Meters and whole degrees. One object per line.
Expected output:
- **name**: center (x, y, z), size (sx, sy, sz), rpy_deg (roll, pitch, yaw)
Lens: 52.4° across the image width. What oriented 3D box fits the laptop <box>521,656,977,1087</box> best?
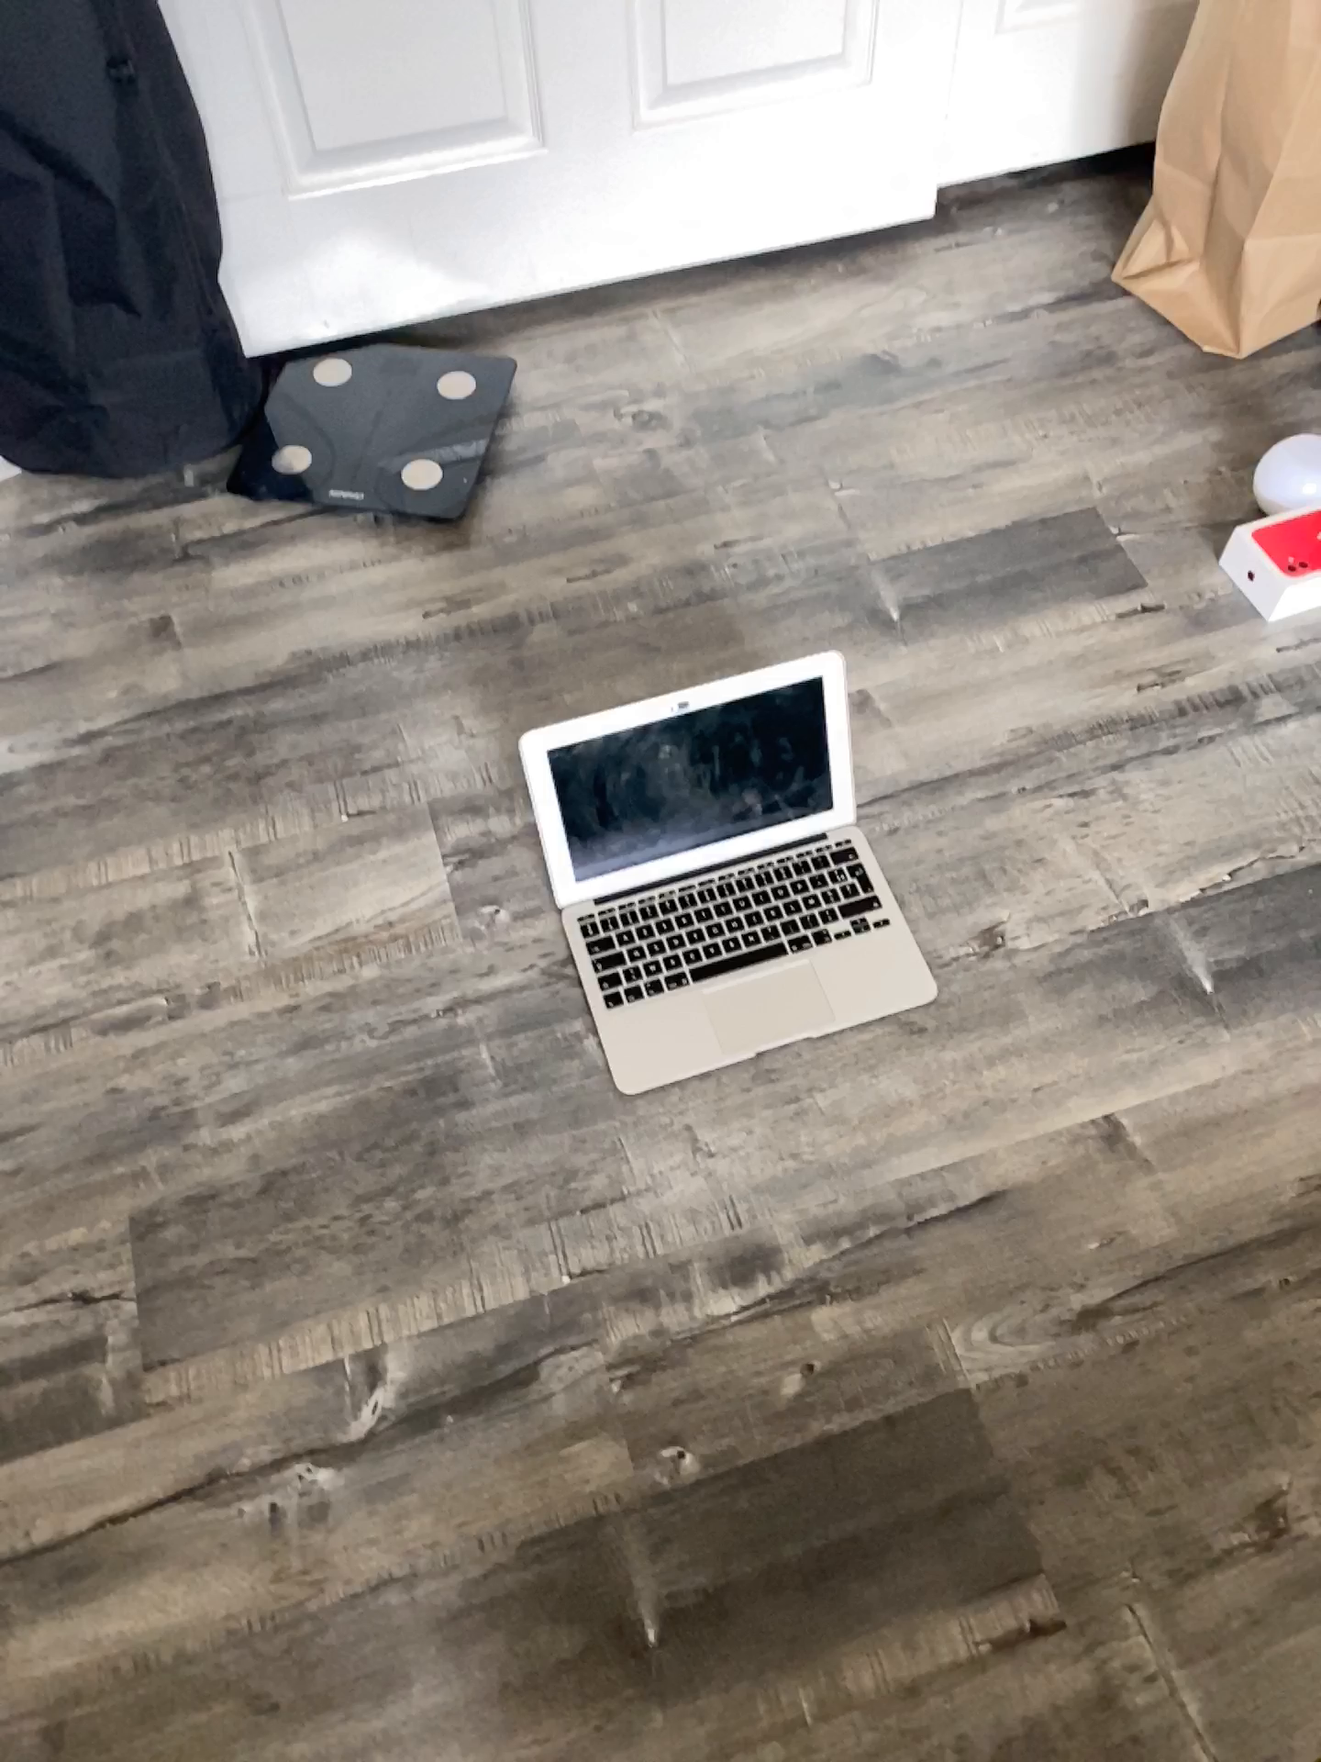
- **laptop**: center (0.064, -0.012, 1.131), size (0.290, 0.159, 0.255), rpy_deg (-16, 56, -9)
